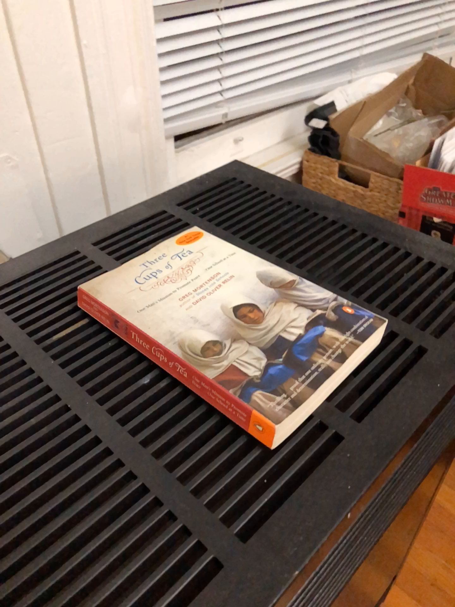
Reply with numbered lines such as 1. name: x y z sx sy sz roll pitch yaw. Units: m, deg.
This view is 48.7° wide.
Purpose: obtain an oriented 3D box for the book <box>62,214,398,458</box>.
1. book: -0.004 0.004 0.395 0.221 0.030 0.141 28 47 32
